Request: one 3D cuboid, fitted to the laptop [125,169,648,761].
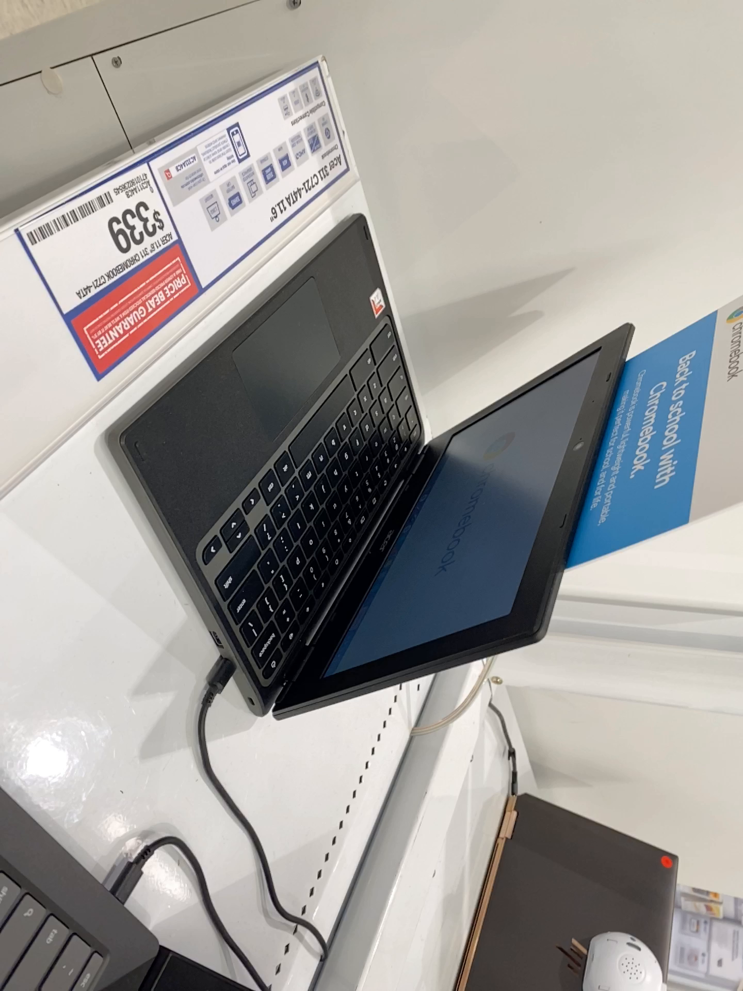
[{"bbox_3d":[0.049,-0.036,0.469,0.290,0.180,0.201,-59,140,-44],"label":"laptop"}]
